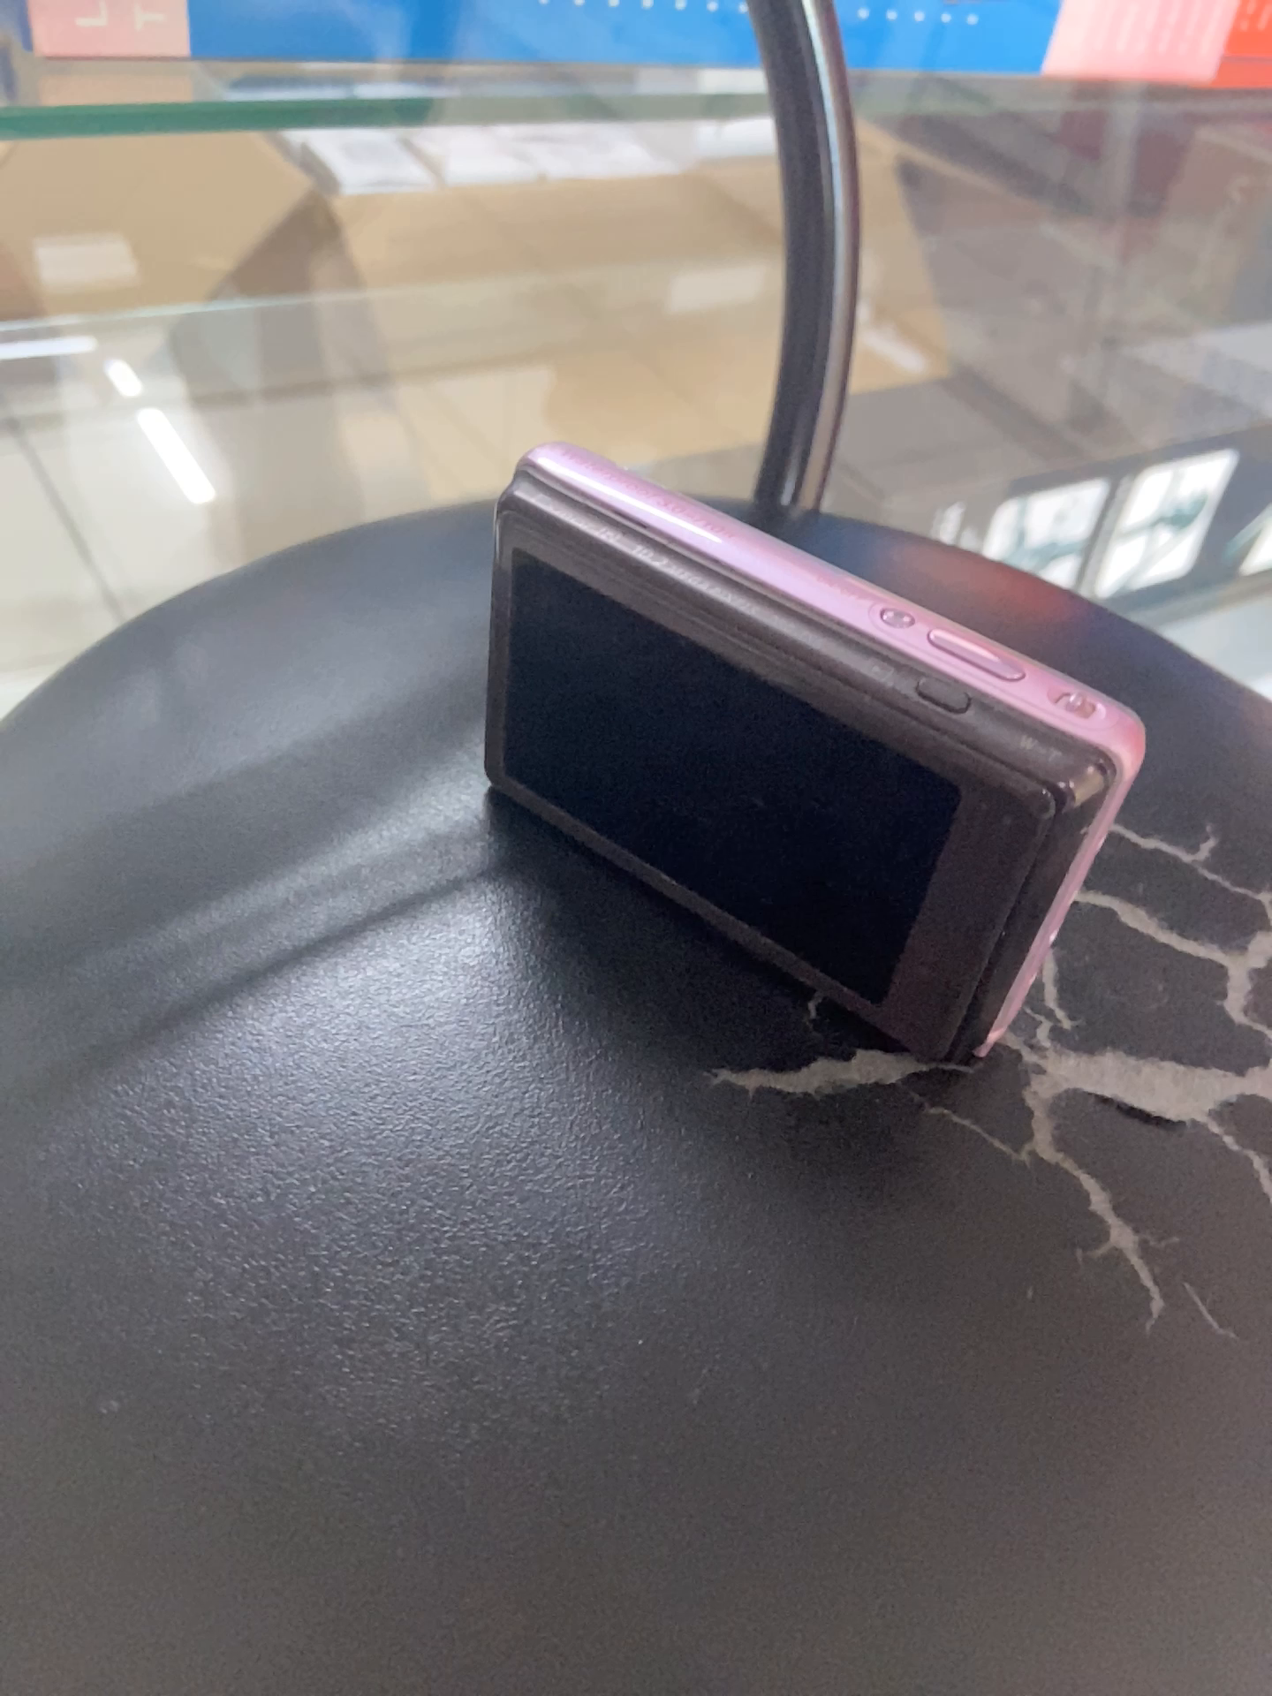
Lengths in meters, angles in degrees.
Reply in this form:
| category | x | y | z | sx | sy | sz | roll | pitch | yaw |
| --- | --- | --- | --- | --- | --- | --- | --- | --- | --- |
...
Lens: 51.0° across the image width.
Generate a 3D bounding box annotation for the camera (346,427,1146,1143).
| category | x | y | z | sx | sy | sz | roll | pitch | yaw |
| --- | --- | --- | --- | --- | --- | --- | --- | --- | --- |
| camera | 0.008 | -0.011 | 0.182 | 0.100 | 0.050 | 0.030 | 31 | 47 | 21 |
